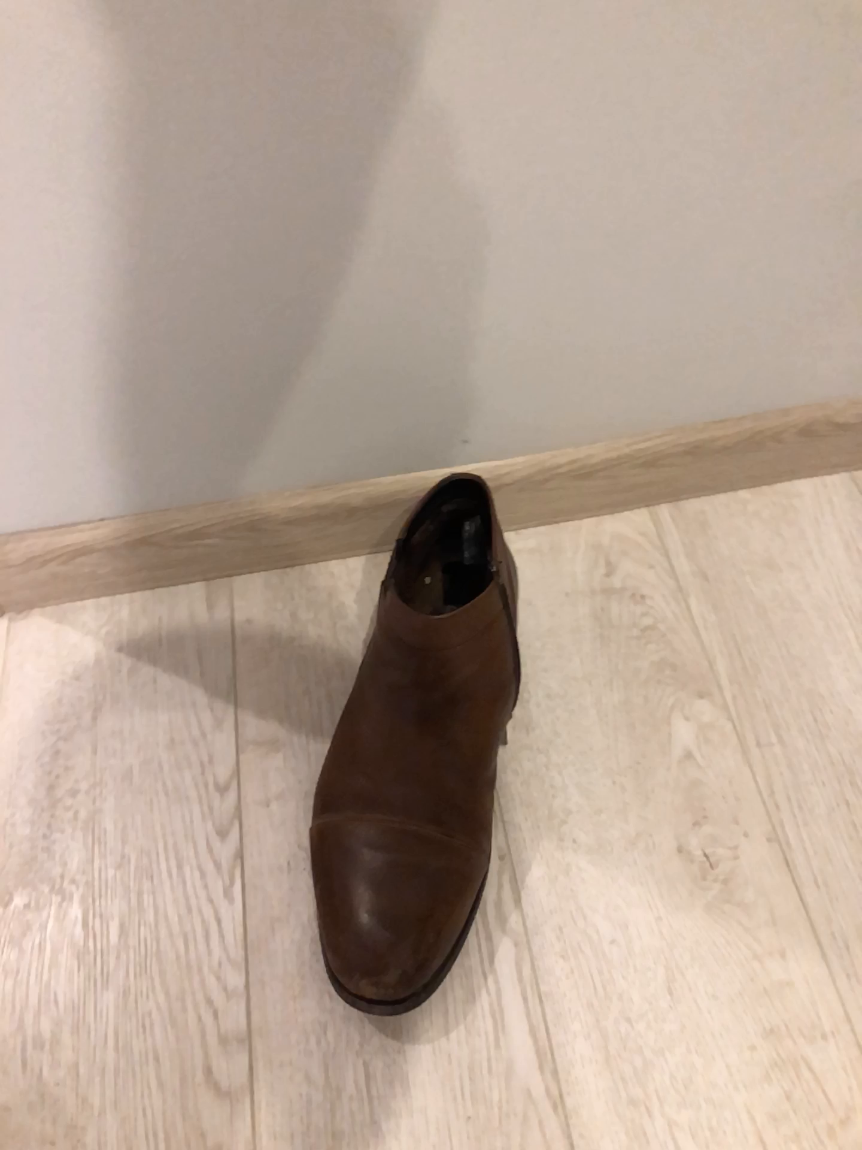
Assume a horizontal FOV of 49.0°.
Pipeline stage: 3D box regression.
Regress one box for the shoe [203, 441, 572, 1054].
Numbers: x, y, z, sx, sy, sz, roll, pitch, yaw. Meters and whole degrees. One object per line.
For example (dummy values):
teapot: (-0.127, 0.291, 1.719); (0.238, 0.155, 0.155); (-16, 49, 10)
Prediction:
shoe: (-0.005, 0.081, 0.540); (0.120, 0.109, 0.312); (9, 54, 9)
